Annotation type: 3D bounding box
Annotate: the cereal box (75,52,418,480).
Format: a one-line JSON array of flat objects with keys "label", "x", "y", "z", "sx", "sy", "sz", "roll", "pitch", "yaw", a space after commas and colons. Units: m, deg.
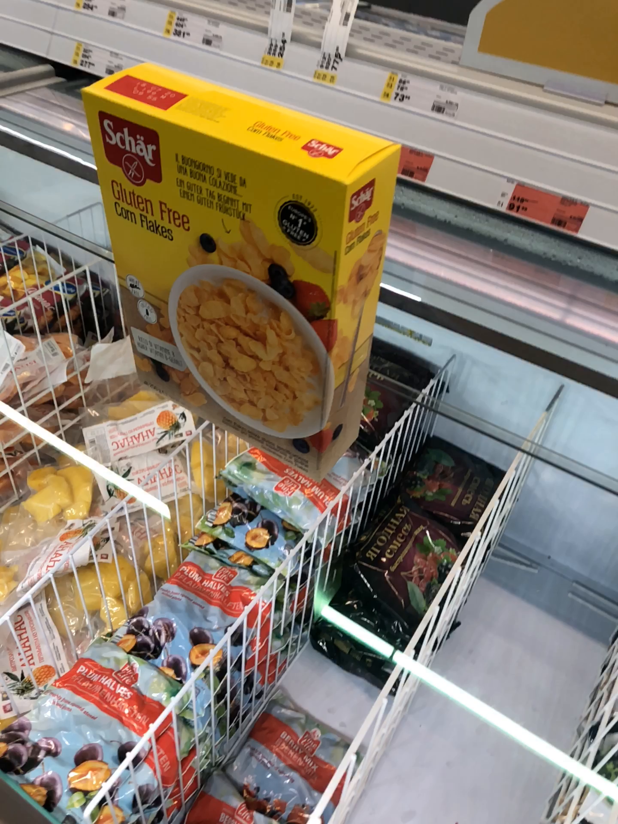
[{"label": "cereal box", "x": -0.046, "y": -0.093, "z": 0.474, "sx": 0.200, "sy": 0.238, "sz": 0.060, "roll": 27, "pitch": 50, "yaw": 21}]
